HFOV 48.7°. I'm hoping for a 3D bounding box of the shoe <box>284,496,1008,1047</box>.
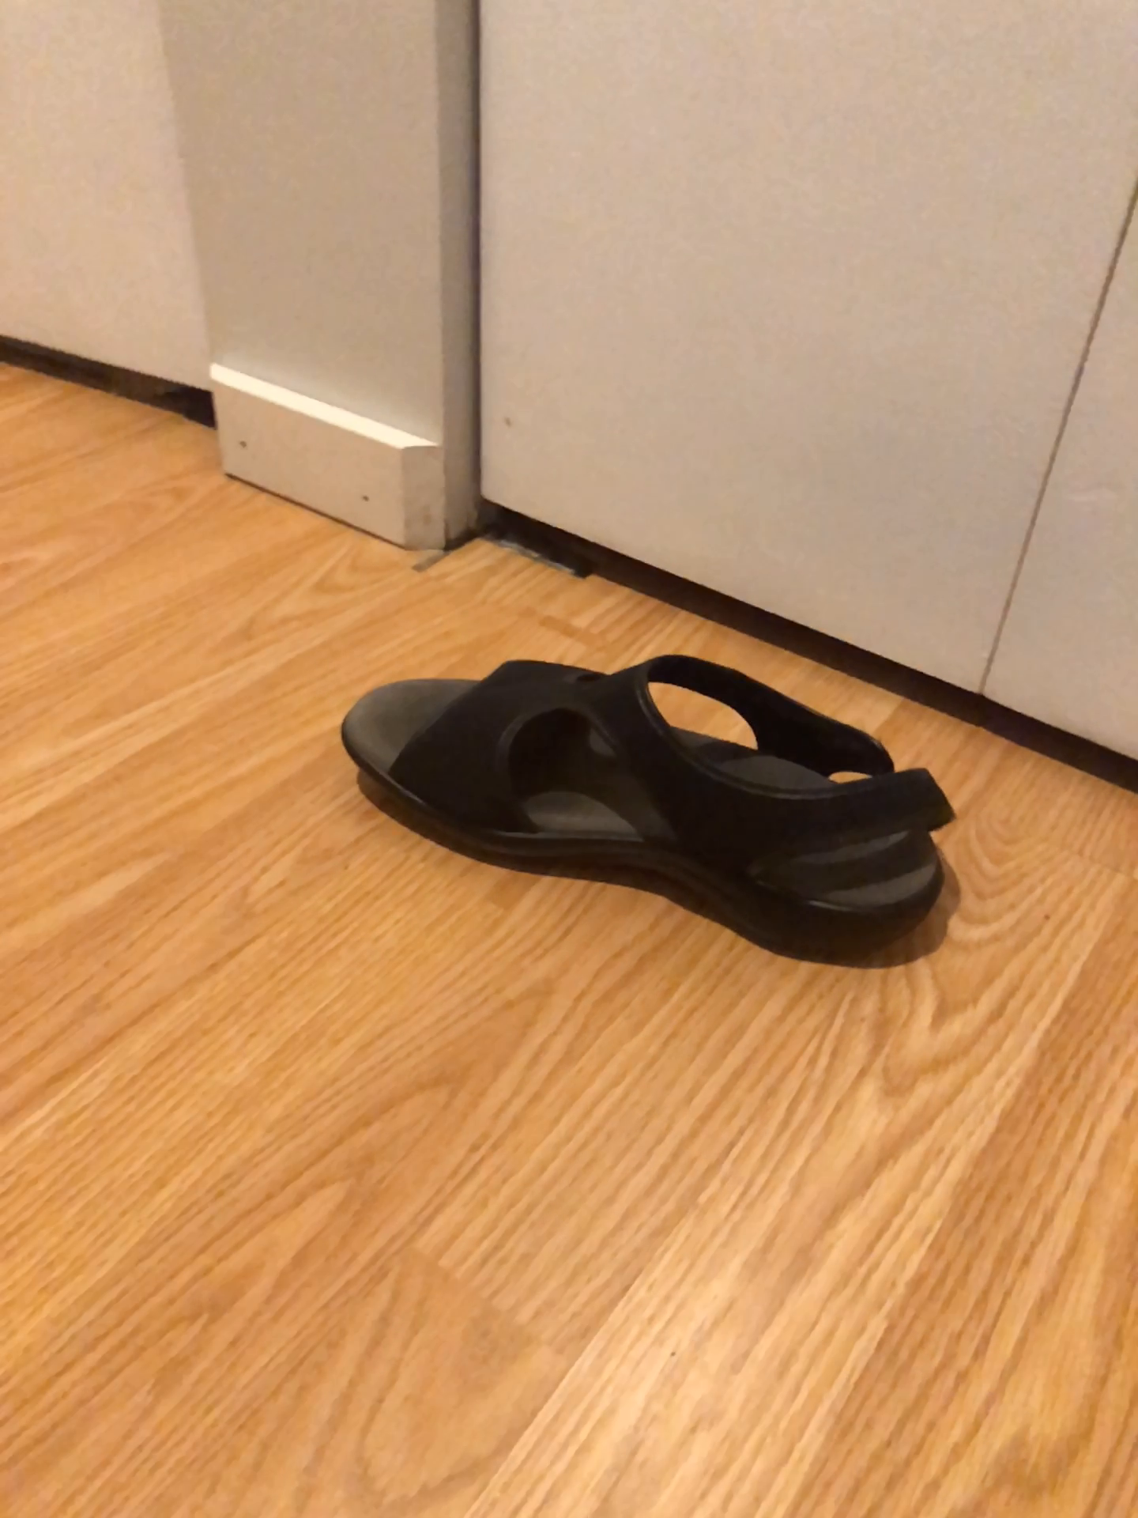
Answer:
[{"bbox_3d":[0.023,-0.006,0.497,0.250,0.100,0.100,21,42,21],"label":"shoe"}]
